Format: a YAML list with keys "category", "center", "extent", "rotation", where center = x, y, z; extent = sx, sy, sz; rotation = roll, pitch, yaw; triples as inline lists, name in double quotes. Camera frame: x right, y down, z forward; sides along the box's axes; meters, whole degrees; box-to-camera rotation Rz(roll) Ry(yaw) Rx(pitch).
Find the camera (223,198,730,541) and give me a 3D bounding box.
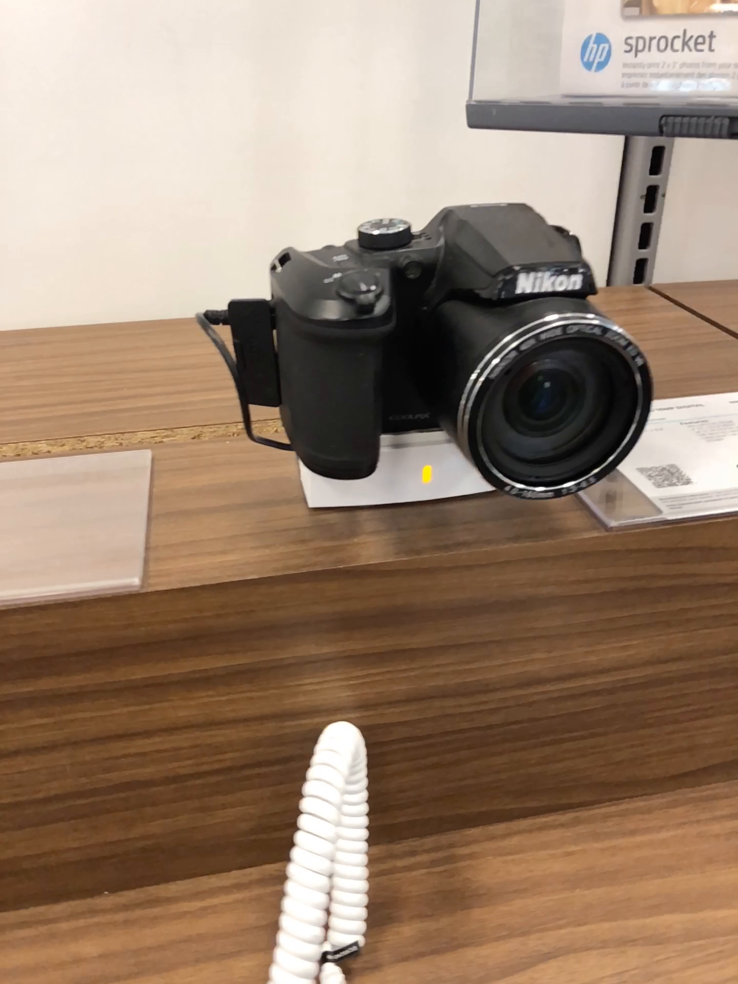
- category: "camera"
  center: [0.022, -0.054, 0.286]
  extent: [0.130, 0.070, 0.131]
  rotation: [-7, 28, -11]
